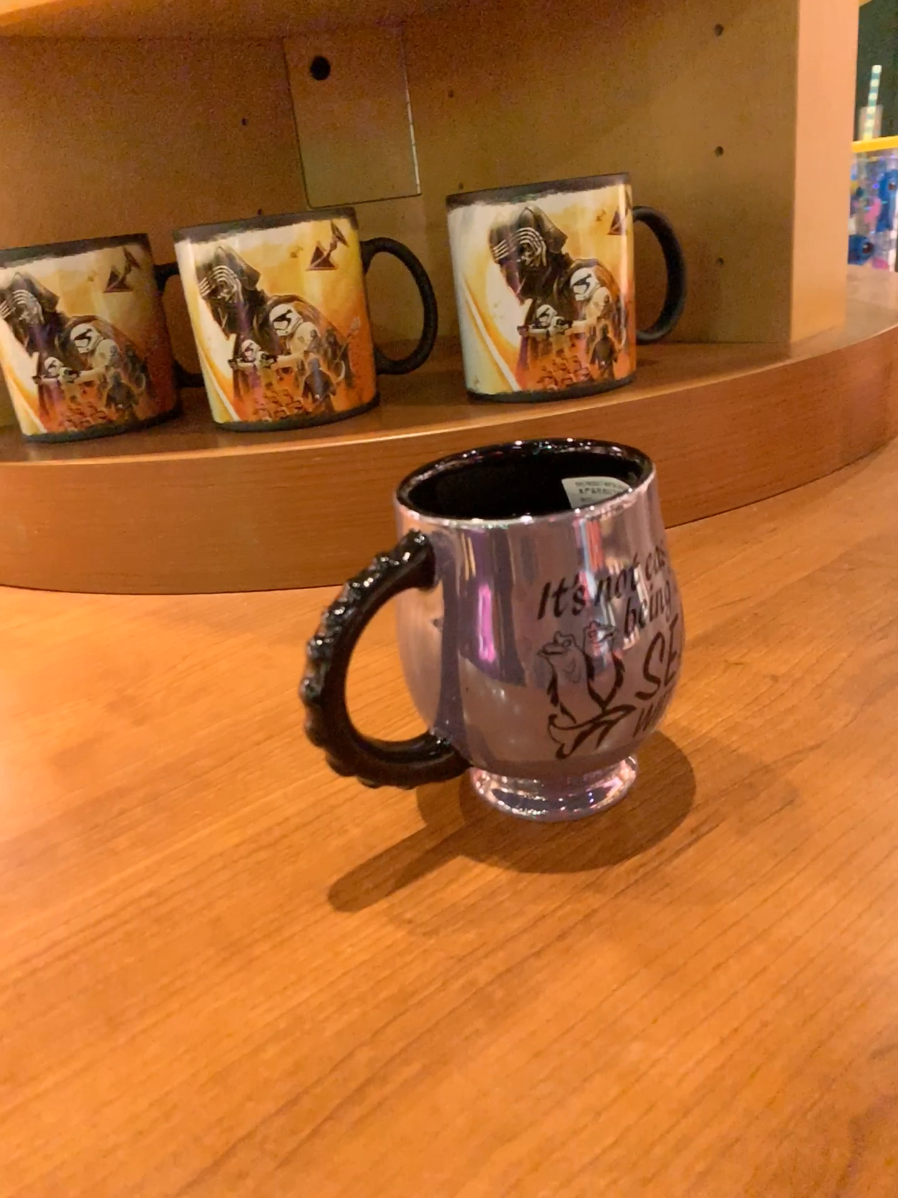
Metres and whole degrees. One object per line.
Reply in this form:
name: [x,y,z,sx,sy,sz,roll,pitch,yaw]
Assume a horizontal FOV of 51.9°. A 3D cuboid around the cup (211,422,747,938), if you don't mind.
cup: [0.014,0.010,0.275,0.125,0.089,0.087,-24,28,-34]
